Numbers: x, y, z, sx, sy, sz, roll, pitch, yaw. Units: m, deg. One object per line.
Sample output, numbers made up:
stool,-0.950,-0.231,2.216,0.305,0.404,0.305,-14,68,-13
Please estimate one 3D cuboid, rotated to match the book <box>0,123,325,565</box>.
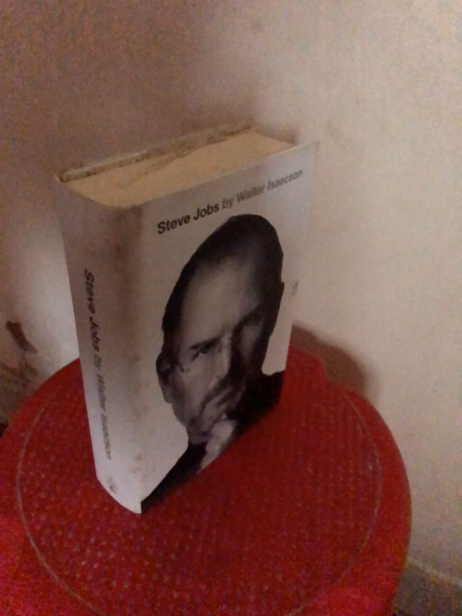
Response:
book,-0.030,0.021,0.329,0.060,0.229,0.170,29,42,32
